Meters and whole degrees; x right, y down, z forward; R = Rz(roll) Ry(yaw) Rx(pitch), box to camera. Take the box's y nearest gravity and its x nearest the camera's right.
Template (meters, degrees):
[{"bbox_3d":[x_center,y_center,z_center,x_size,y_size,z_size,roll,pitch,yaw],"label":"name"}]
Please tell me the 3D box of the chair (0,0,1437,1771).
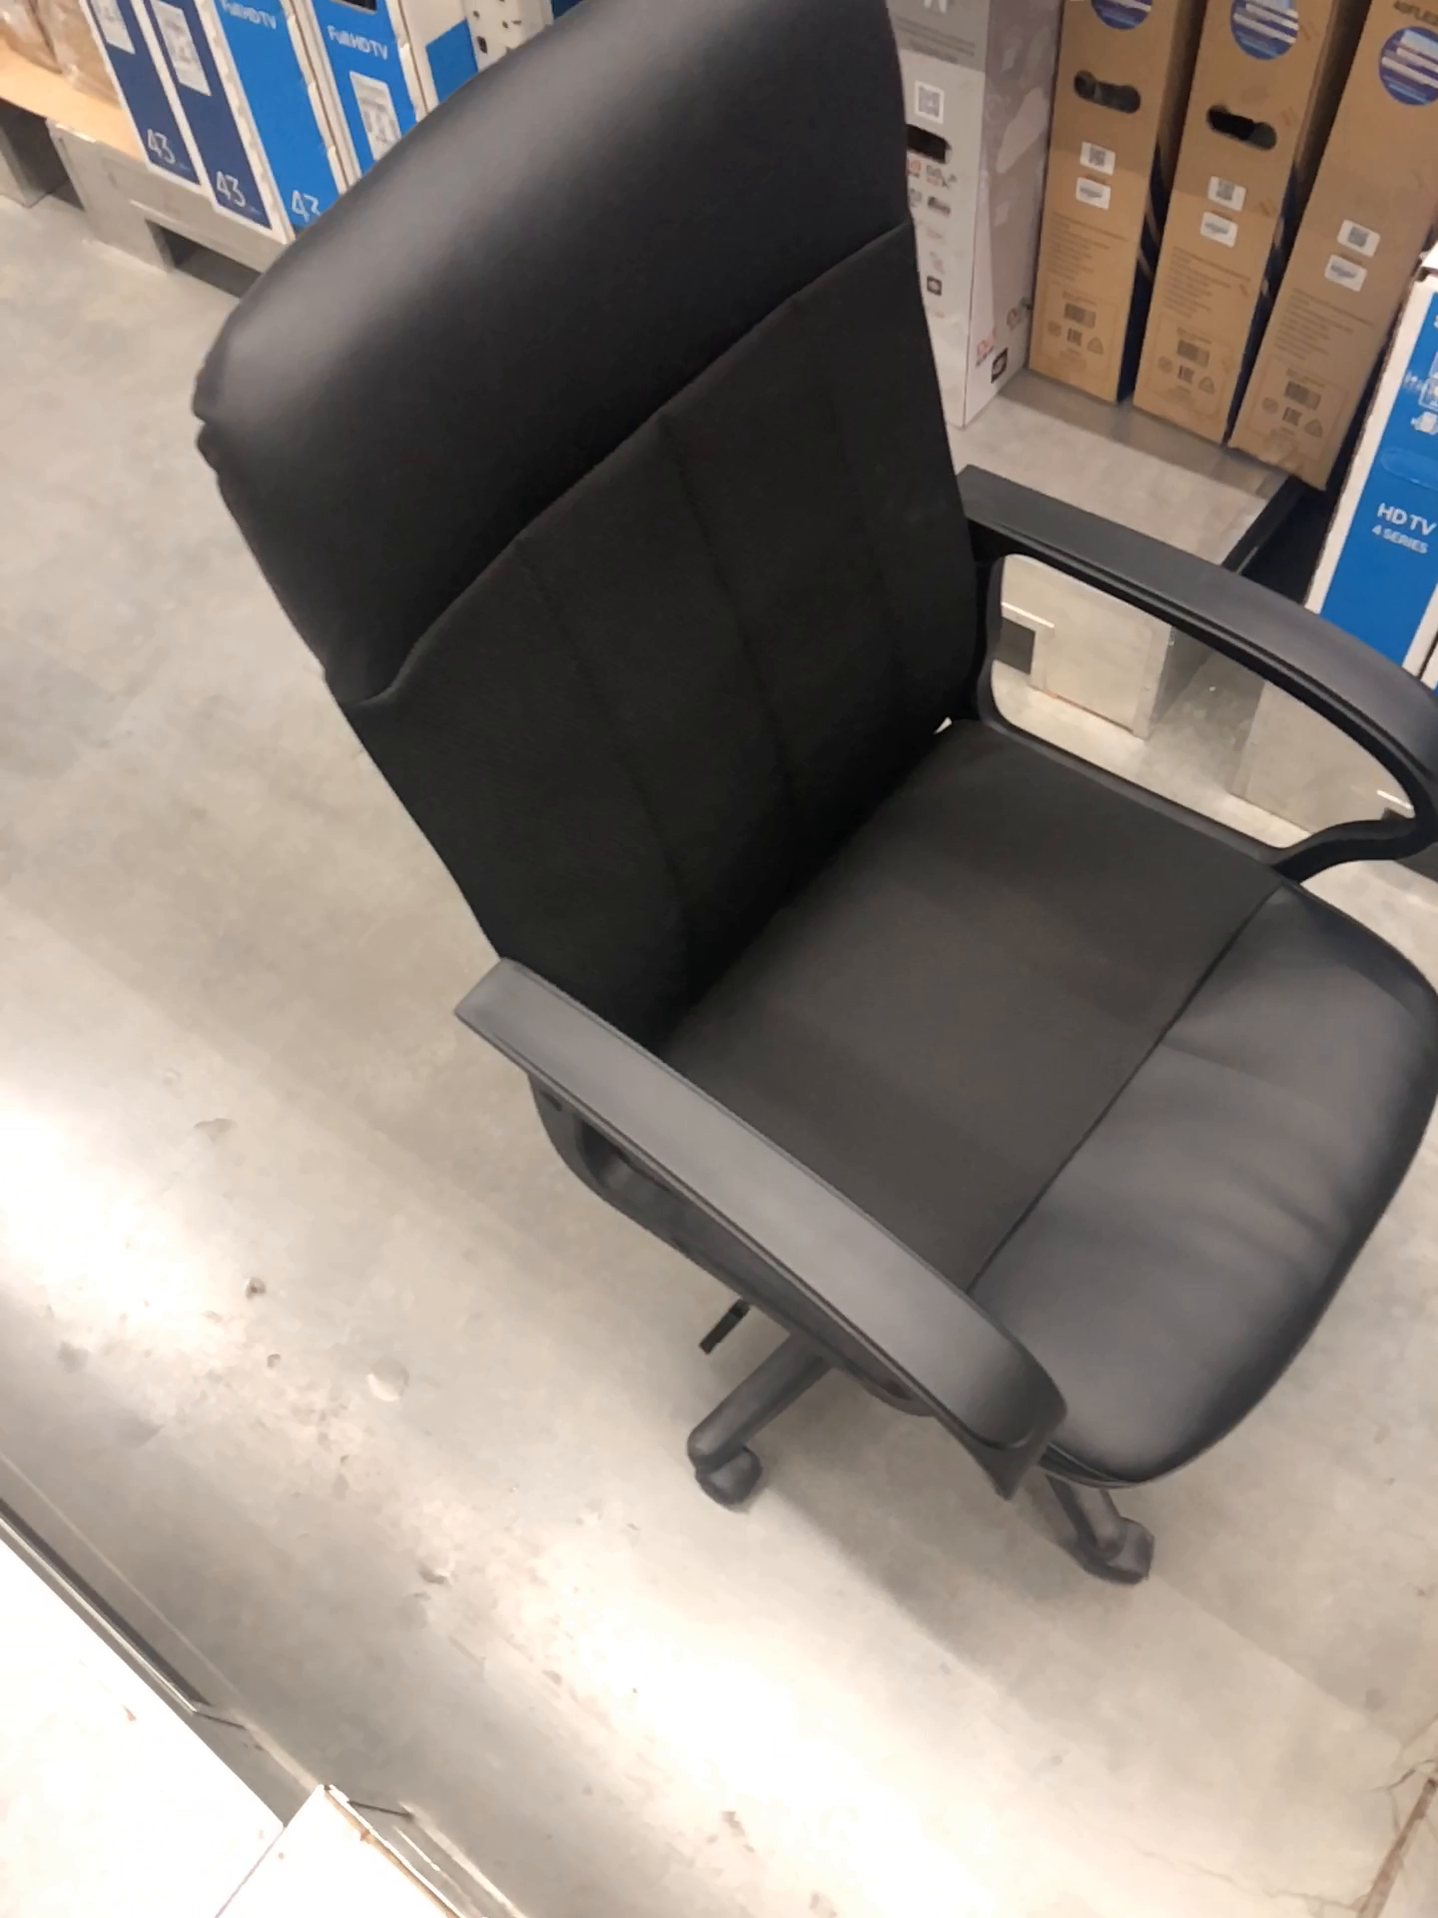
[{"bbox_3d":[0.180,0.017,1.104,0.631,1.125,0.652,31,66,22],"label":"chair"}]
